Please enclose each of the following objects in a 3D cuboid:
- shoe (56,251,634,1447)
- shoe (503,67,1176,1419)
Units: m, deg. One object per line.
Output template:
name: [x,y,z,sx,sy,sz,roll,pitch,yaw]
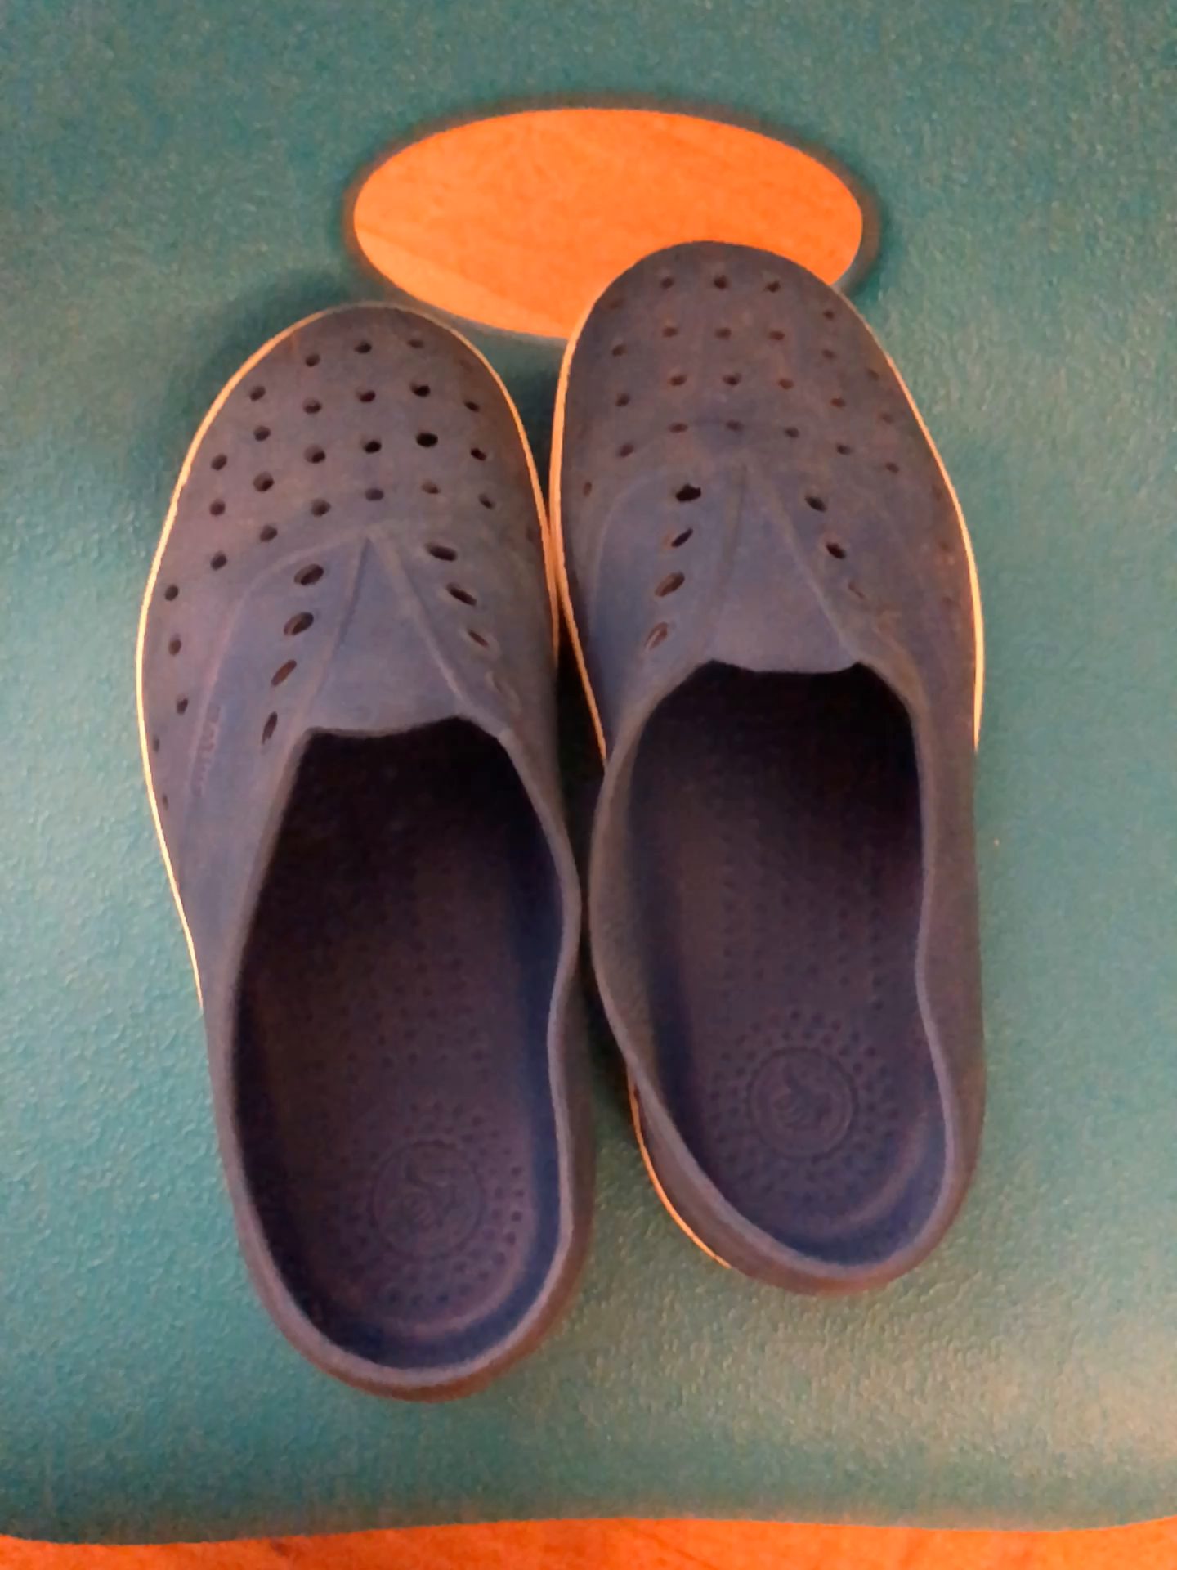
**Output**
shoe: [-0.050,0.009,0.275,0.090,0.080,0.210,-5,79,-4]
shoe: [0.043,-0.014,0.268,0.100,0.070,0.240,-5,79,-4]
